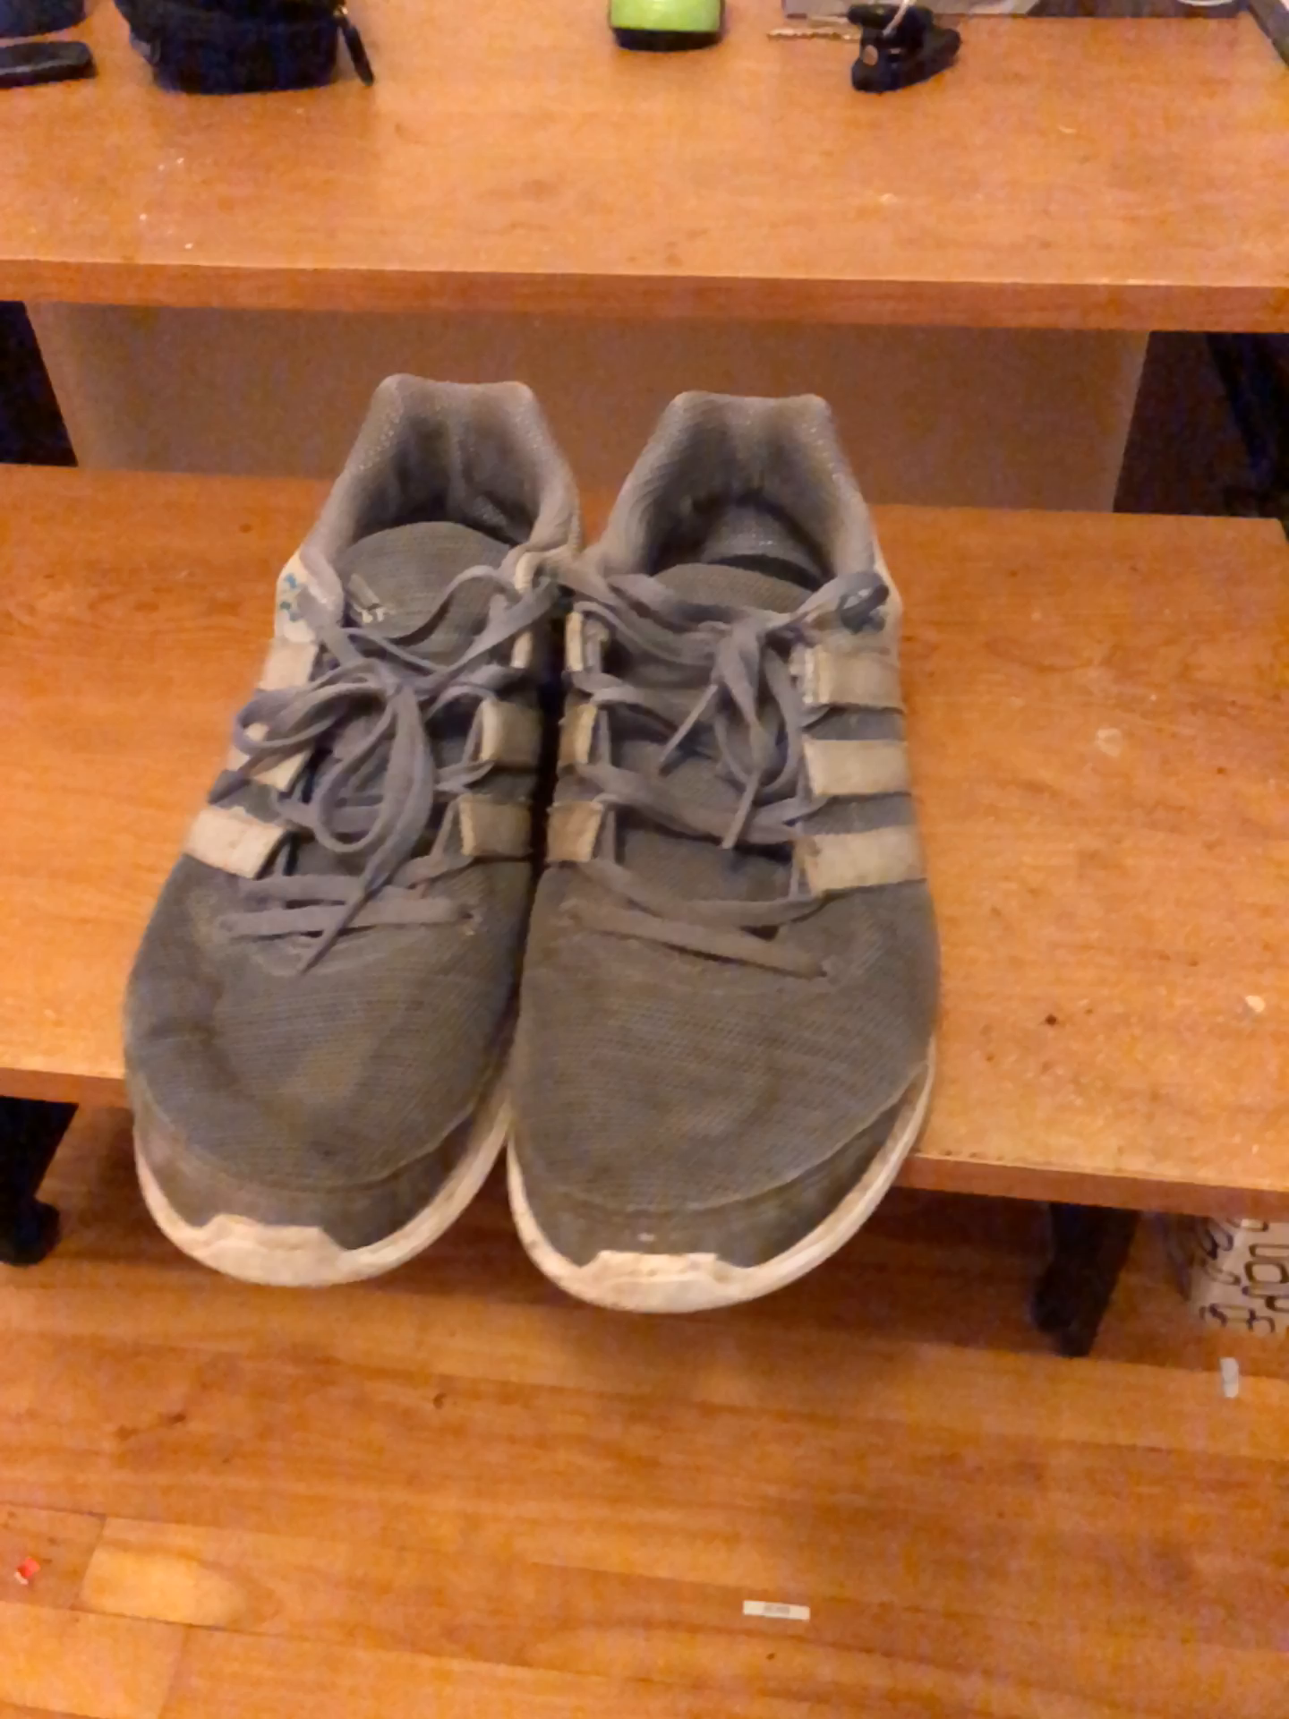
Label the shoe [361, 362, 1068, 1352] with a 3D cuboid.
[{"bbox_3d":[0.024,-0.026,0.370,0.120,0.089,0.272,2,44,5],"label":"shoe"}]

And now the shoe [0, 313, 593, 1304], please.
[{"bbox_3d":[-0.085,-0.042,0.389,0.110,0.089,0.302,2,44,4],"label":"shoe"}]
